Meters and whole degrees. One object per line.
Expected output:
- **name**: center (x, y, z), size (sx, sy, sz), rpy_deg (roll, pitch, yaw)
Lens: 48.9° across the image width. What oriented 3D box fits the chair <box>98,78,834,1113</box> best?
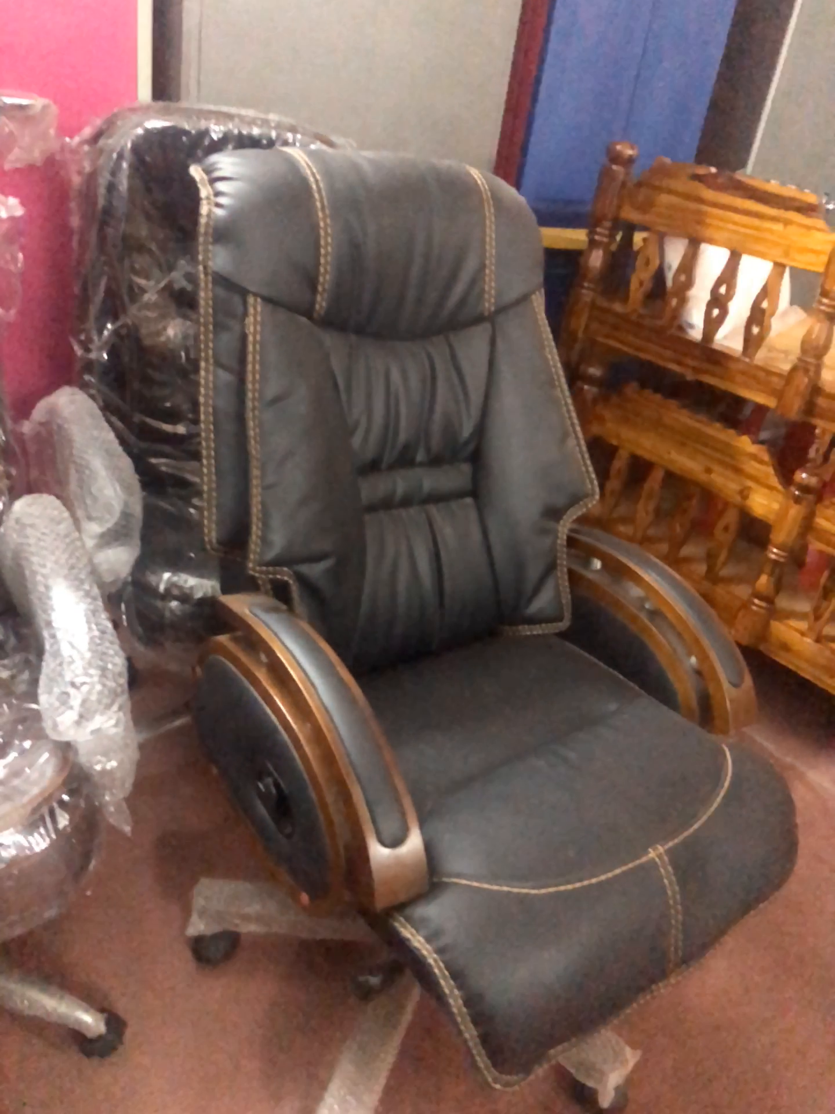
- **chair**: center (0.117, 0.075, 1.085), size (0.703, 0.995, 0.791), rpy_deg (-12, 34, -35)
